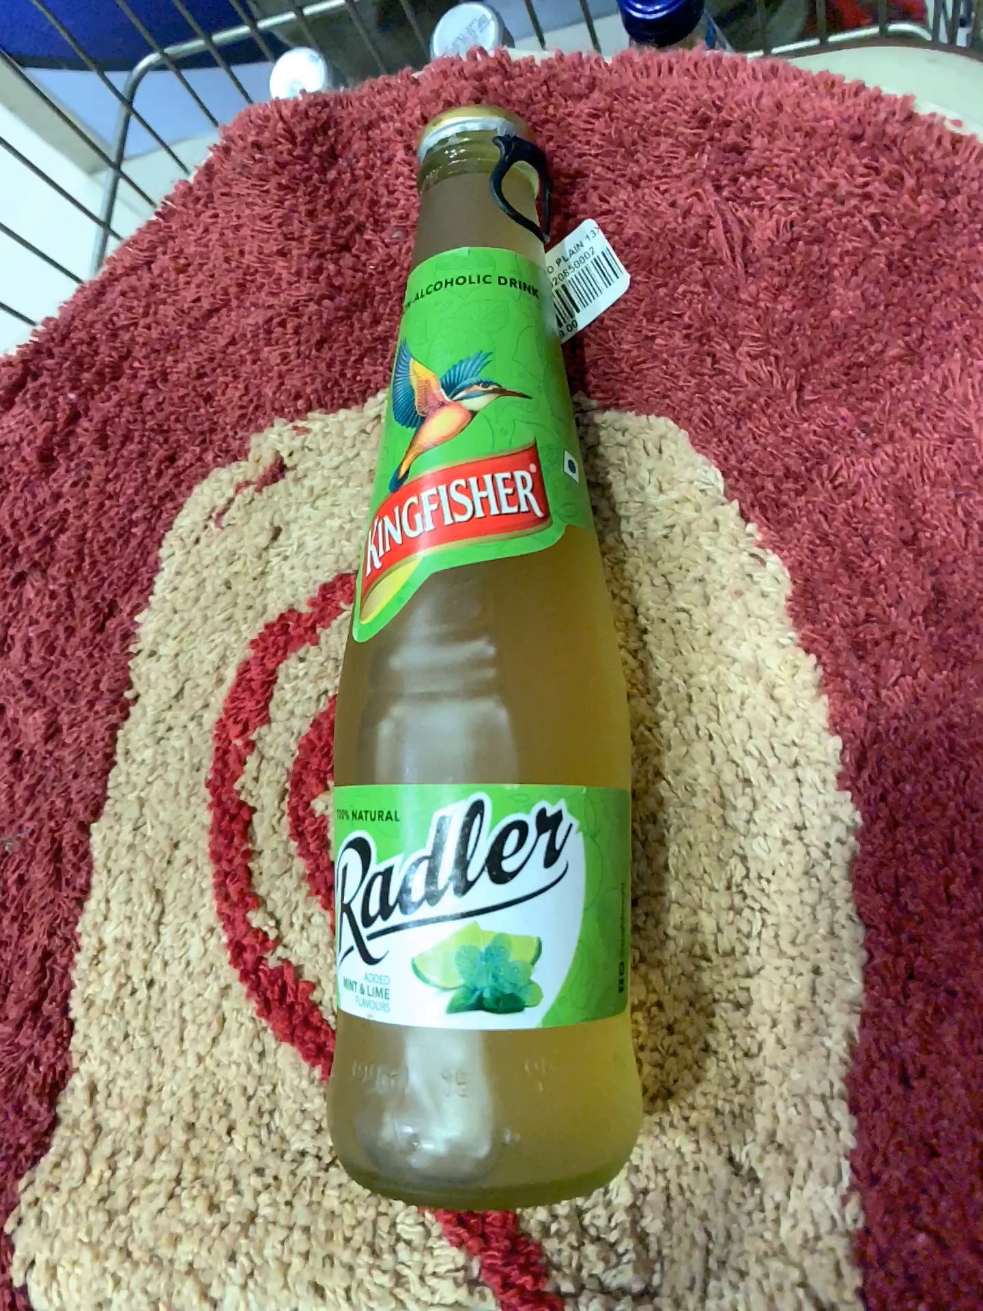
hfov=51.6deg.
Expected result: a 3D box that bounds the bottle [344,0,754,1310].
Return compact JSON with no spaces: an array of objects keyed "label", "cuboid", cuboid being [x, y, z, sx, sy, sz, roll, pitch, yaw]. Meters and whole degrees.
[{"label":"bottle","cuboid":[0.015,-0.014,0.208,0.060,0.060,0.240,-3,80,21]}]
